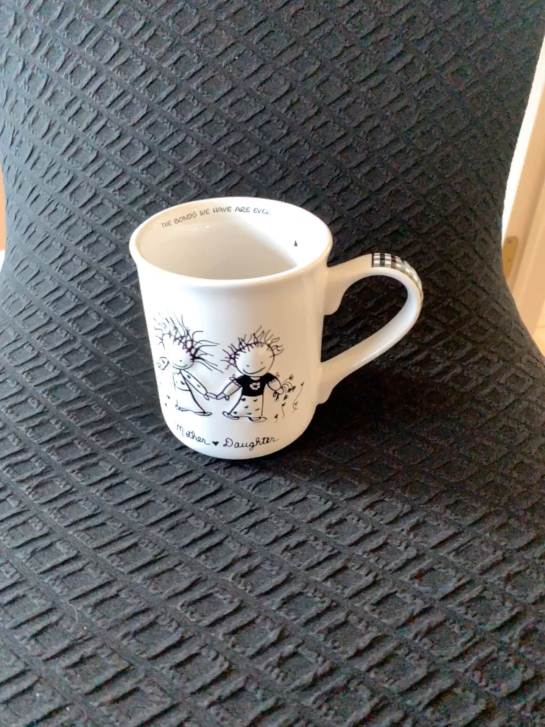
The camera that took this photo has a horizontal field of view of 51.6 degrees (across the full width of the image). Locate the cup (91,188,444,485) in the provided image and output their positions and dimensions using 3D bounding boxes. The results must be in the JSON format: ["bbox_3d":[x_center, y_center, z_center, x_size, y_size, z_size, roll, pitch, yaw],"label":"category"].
[{"bbox_3d":[0.003,-0.017,0.295,0.140,0.109,0.101,3,39,6],"label":"cup"}]
